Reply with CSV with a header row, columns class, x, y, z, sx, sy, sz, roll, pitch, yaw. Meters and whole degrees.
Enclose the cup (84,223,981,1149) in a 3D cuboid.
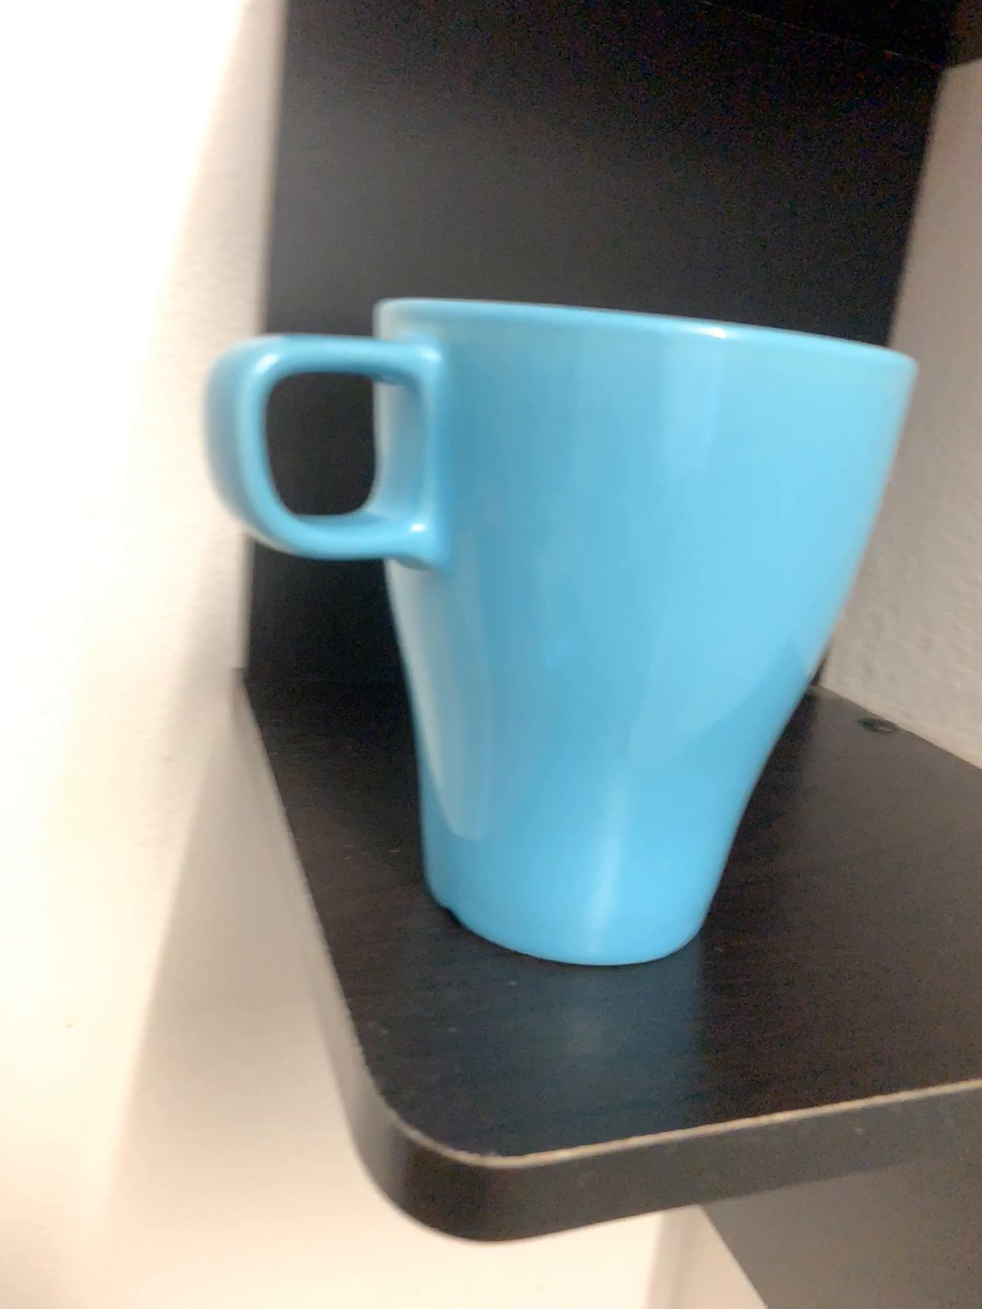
class,x,y,z,sx,sy,sz,roll,pitch,yaw
cup,0.010,-0.010,0.164,0.110,0.090,0.090,-7,20,-44
